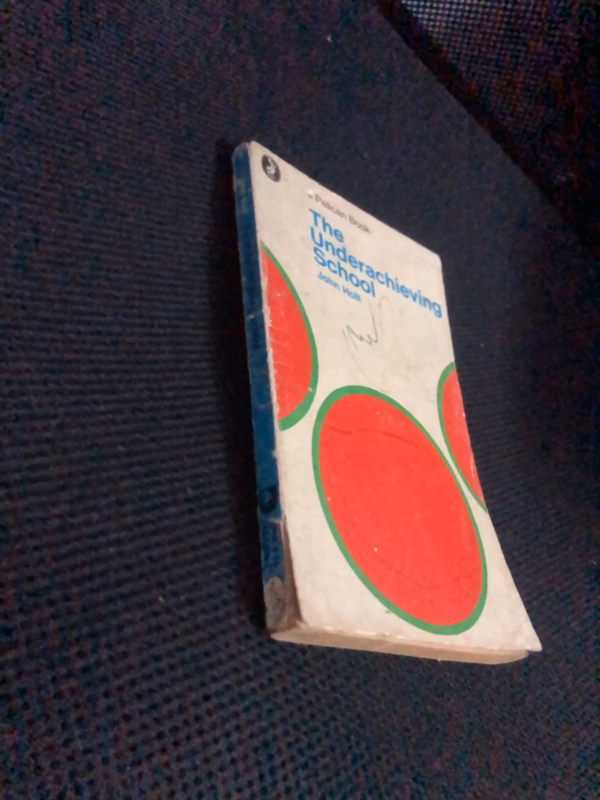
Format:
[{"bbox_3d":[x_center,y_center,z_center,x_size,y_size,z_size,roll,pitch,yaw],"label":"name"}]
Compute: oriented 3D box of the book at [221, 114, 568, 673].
[{"bbox_3d":[0.030,-0.004,0.237,0.121,0.020,0.182,21,50,-38],"label":"book"}]
